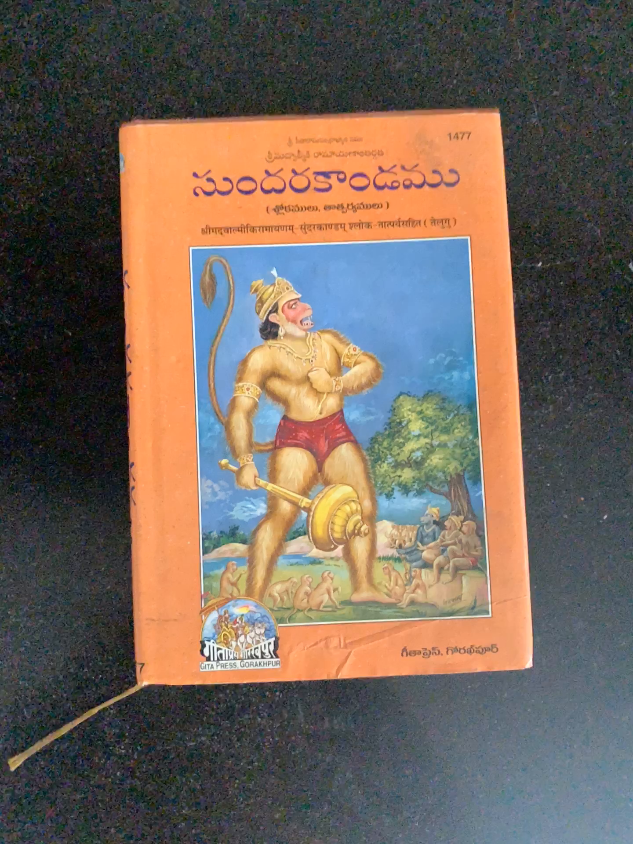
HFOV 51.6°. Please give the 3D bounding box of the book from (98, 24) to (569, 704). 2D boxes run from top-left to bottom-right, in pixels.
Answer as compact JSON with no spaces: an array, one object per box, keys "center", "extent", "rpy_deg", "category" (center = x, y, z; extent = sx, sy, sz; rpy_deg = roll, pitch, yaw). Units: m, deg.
[{"center":[0.005,-0.031,0.314],"extent":[0.200,0.040,0.300],"rpy_deg":[-2,87,-2],"category":"book"}]
